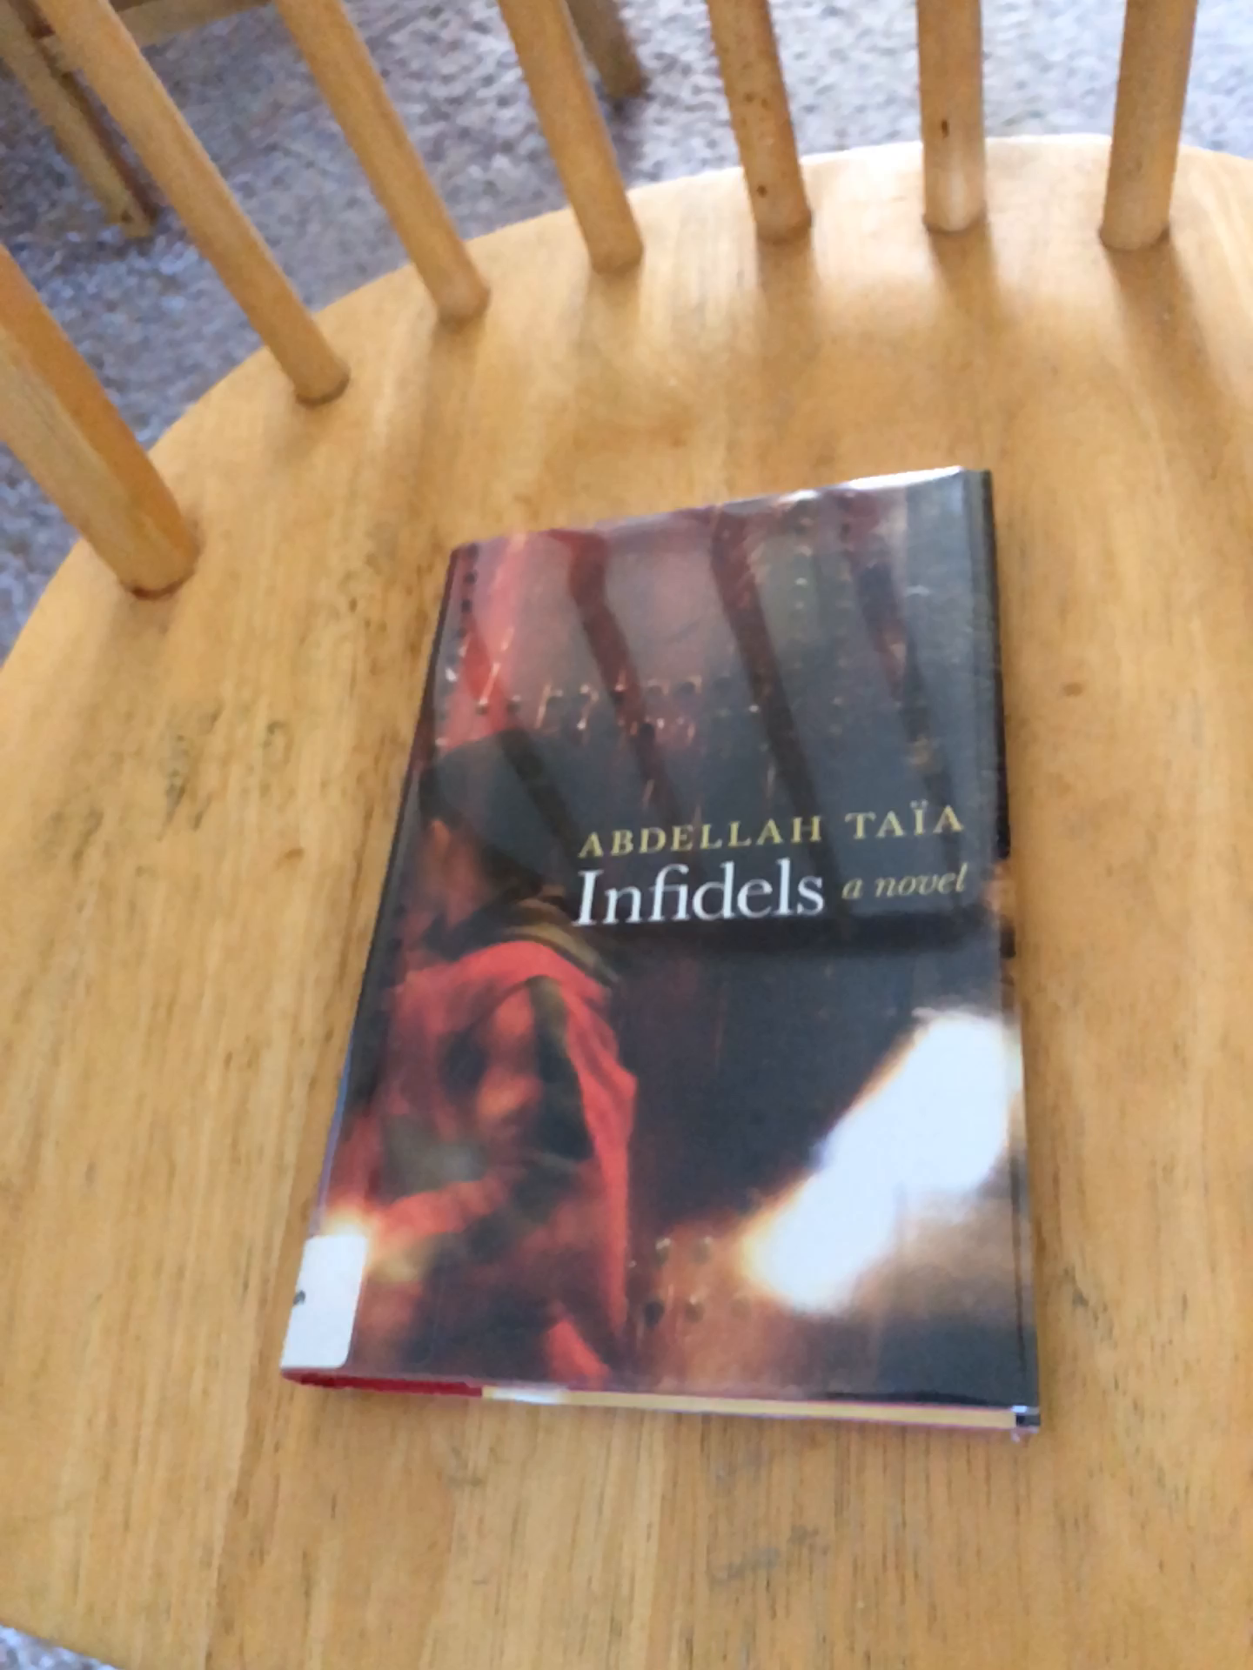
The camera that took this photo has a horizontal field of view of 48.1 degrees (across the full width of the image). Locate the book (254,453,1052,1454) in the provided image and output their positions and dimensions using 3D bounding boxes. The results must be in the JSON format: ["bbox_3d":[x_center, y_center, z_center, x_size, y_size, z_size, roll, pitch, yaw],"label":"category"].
[{"bbox_3d":[0.012,0.012,0.305,0.143,0.020,0.216,-4,57,18],"label":"book"}]
